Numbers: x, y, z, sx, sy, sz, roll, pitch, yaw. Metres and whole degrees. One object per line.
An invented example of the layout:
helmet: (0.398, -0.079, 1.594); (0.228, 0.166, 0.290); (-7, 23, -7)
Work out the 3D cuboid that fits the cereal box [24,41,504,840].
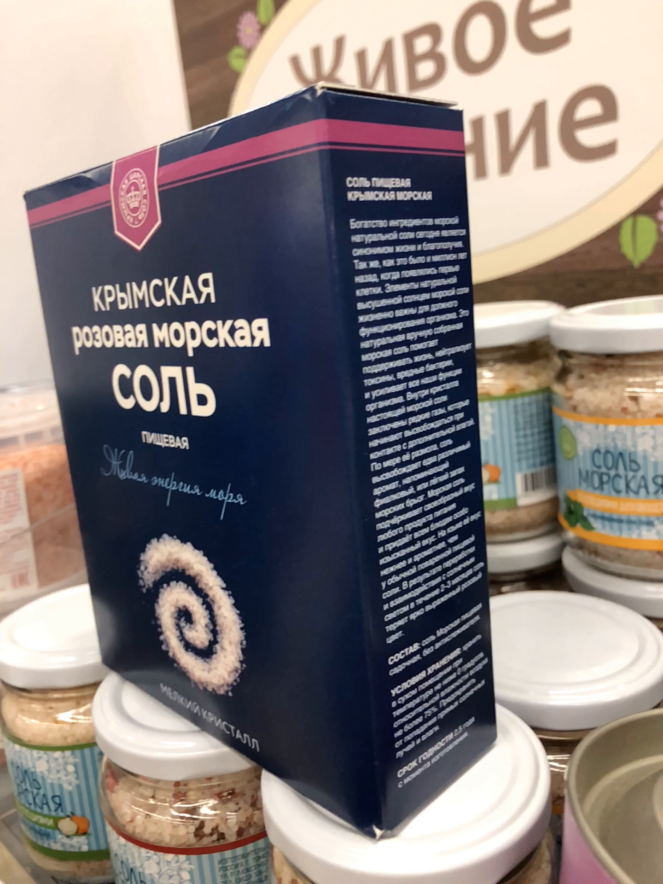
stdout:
cereal box: (-0.022, -0.002, 0.192); (0.040, 0.149, 0.120); (-17, 16, -42)
